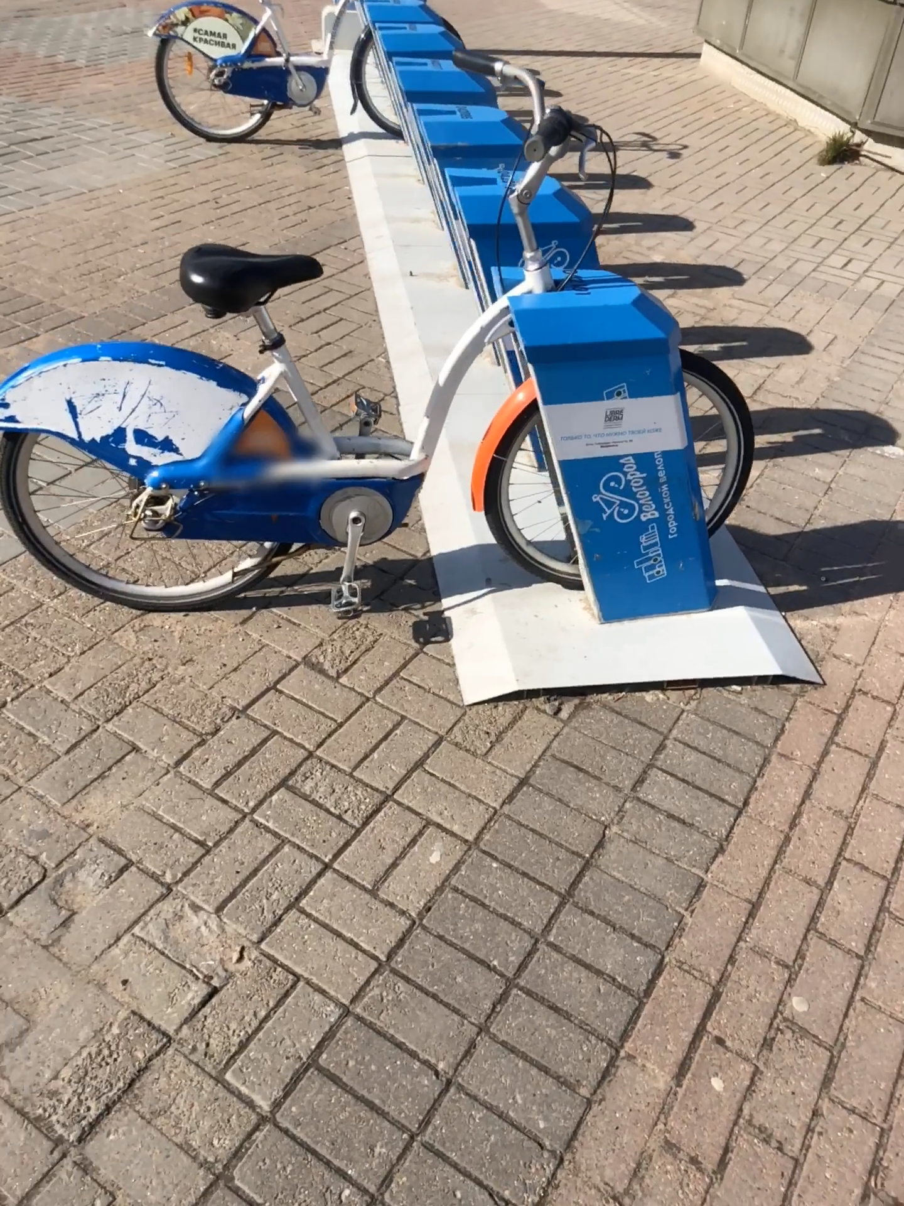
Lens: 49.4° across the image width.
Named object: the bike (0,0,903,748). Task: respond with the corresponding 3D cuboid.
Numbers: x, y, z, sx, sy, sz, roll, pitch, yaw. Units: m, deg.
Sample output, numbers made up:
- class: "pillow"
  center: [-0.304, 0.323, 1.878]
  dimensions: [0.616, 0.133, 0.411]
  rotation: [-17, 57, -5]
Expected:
- class: "bike"
  center: [-0.084, -0.474, 2.009]
  dimensions: [1.675, 1.233, 0.686]
  rotation: [-4, 39, -7]
